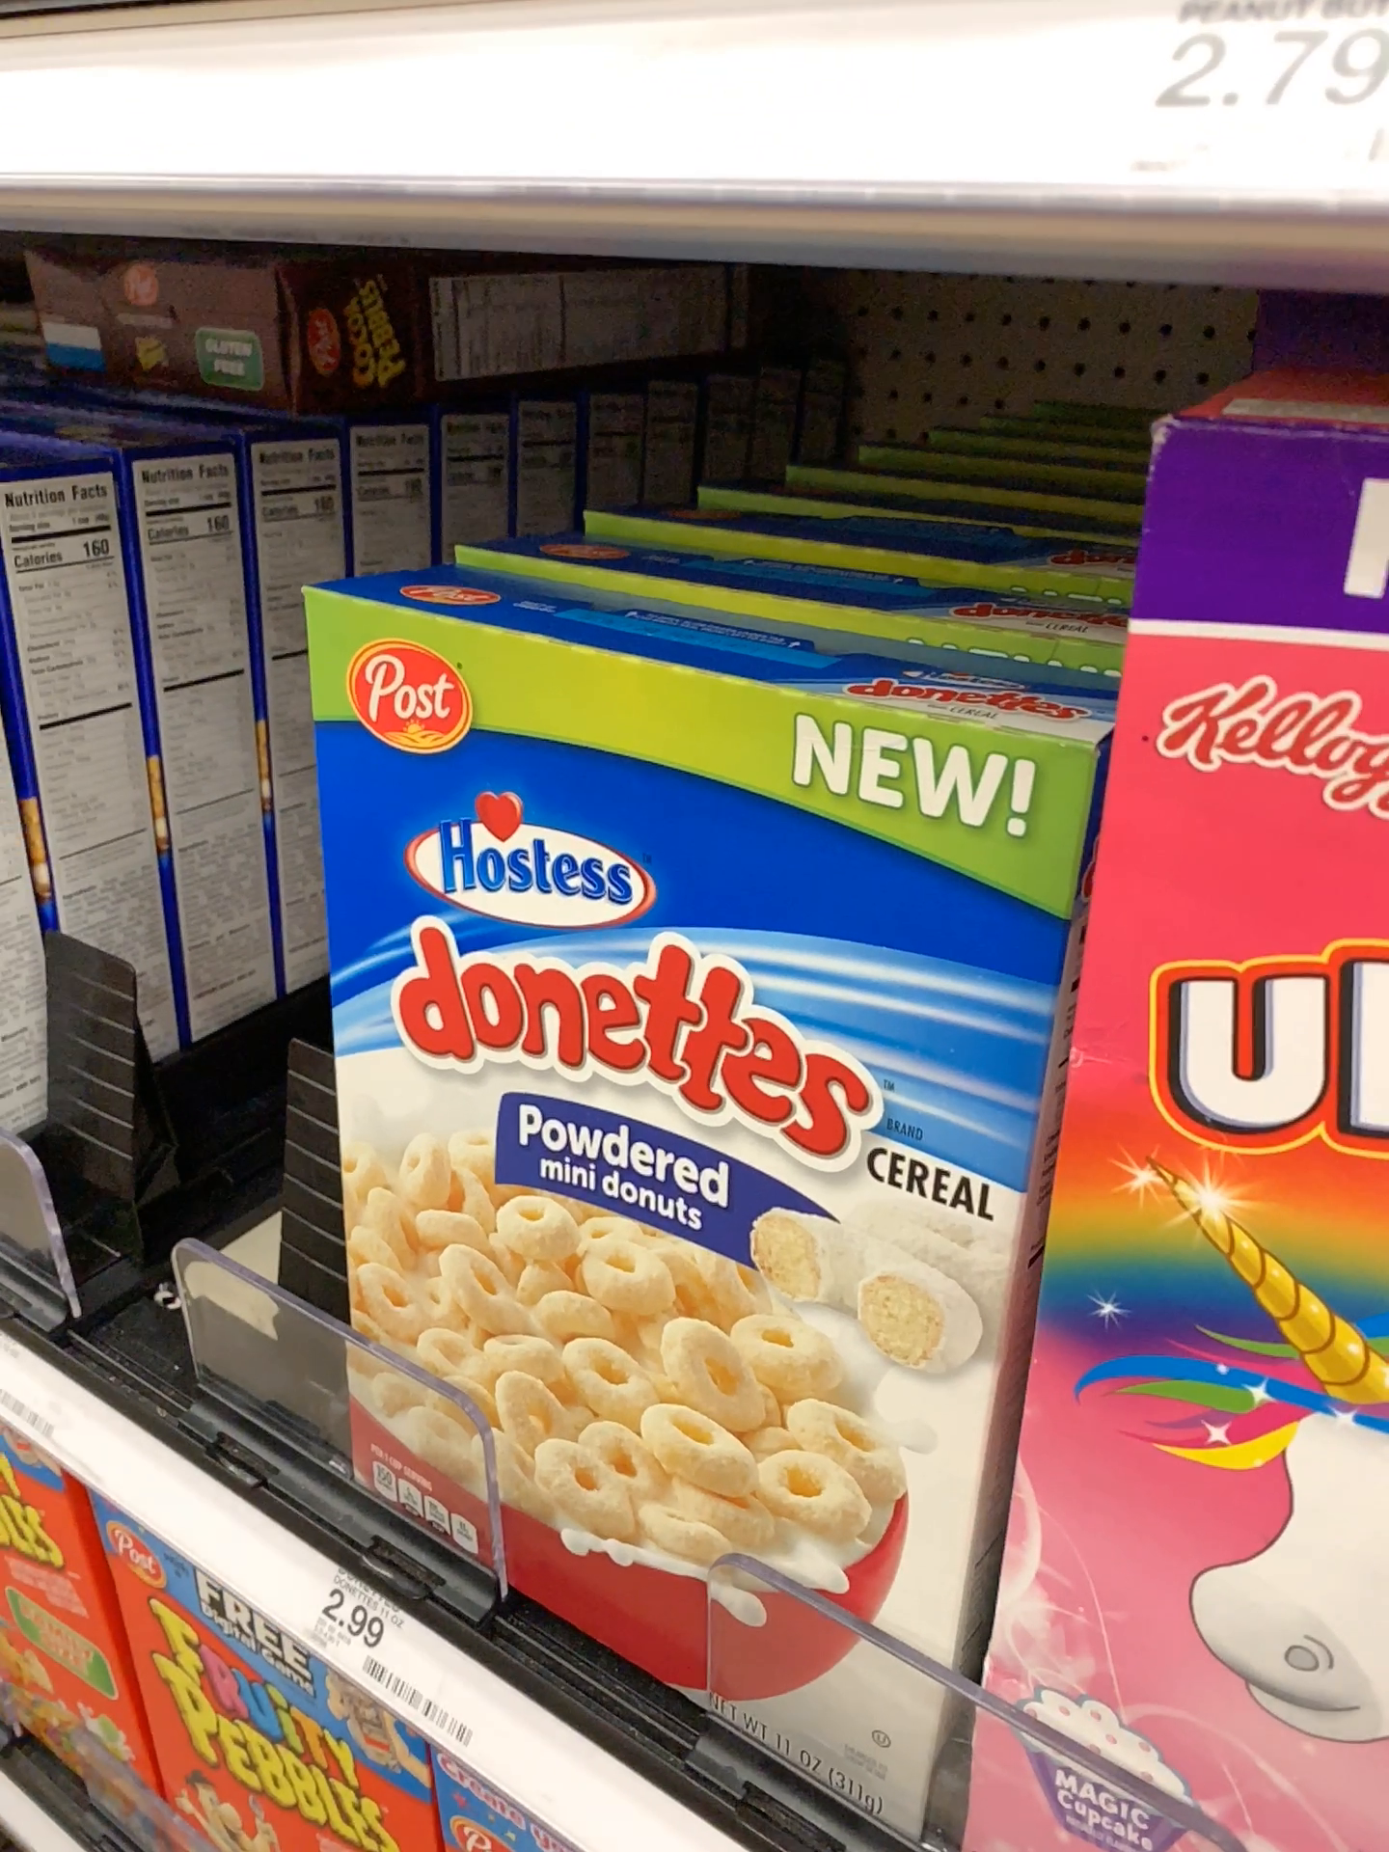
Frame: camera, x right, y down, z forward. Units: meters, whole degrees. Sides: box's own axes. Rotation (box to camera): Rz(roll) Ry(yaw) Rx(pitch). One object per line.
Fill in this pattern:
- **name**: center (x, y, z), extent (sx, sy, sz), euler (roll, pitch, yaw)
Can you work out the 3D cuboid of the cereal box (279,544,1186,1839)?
- **cereal box**: center (-0.006, 0.058, 0.356), extent (0.190, 0.269, 0.060), euler (17, 27, 30)
